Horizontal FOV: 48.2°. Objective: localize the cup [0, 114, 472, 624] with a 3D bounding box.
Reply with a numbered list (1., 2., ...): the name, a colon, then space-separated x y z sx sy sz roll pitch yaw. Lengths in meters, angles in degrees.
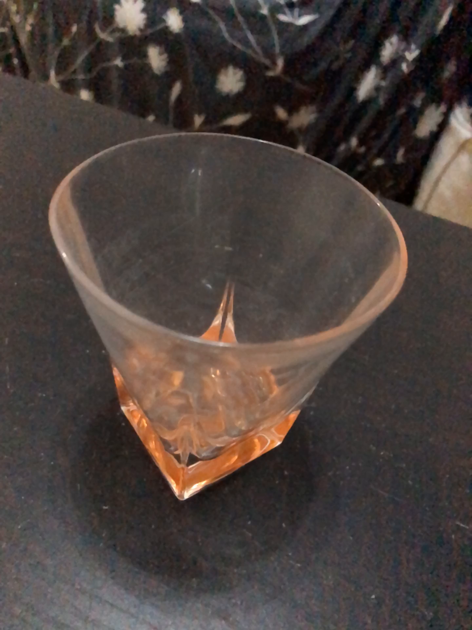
1. cup: -0.010 0.008 0.183 0.110 0.099 0.110 6 43 -5
